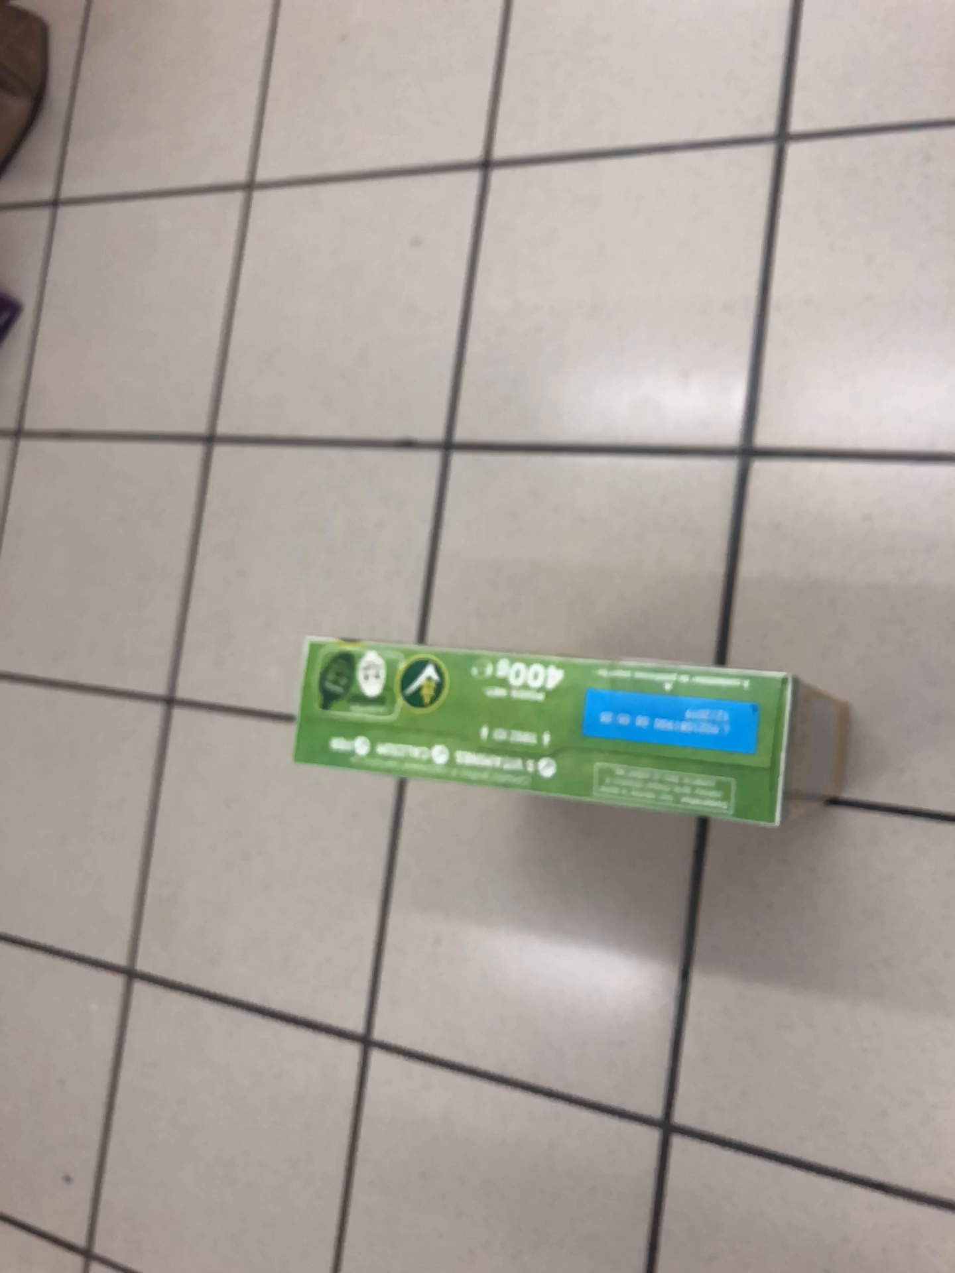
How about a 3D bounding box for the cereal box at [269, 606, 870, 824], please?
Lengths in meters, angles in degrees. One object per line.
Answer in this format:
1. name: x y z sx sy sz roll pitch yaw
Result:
1. cereal box: 0.070 0.038 0.514 0.210 0.280 0.060 4 86 22
